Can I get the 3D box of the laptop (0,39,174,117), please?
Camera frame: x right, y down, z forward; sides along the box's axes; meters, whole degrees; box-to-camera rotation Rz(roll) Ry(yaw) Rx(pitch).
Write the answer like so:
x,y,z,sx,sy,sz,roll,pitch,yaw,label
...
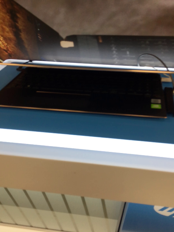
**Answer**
x,y,z,sx,sy,sz,roll,pitch,yaw,label
-0.012,-0.107,0.553,0.394,0.090,0.217,5,36,7,laptop
